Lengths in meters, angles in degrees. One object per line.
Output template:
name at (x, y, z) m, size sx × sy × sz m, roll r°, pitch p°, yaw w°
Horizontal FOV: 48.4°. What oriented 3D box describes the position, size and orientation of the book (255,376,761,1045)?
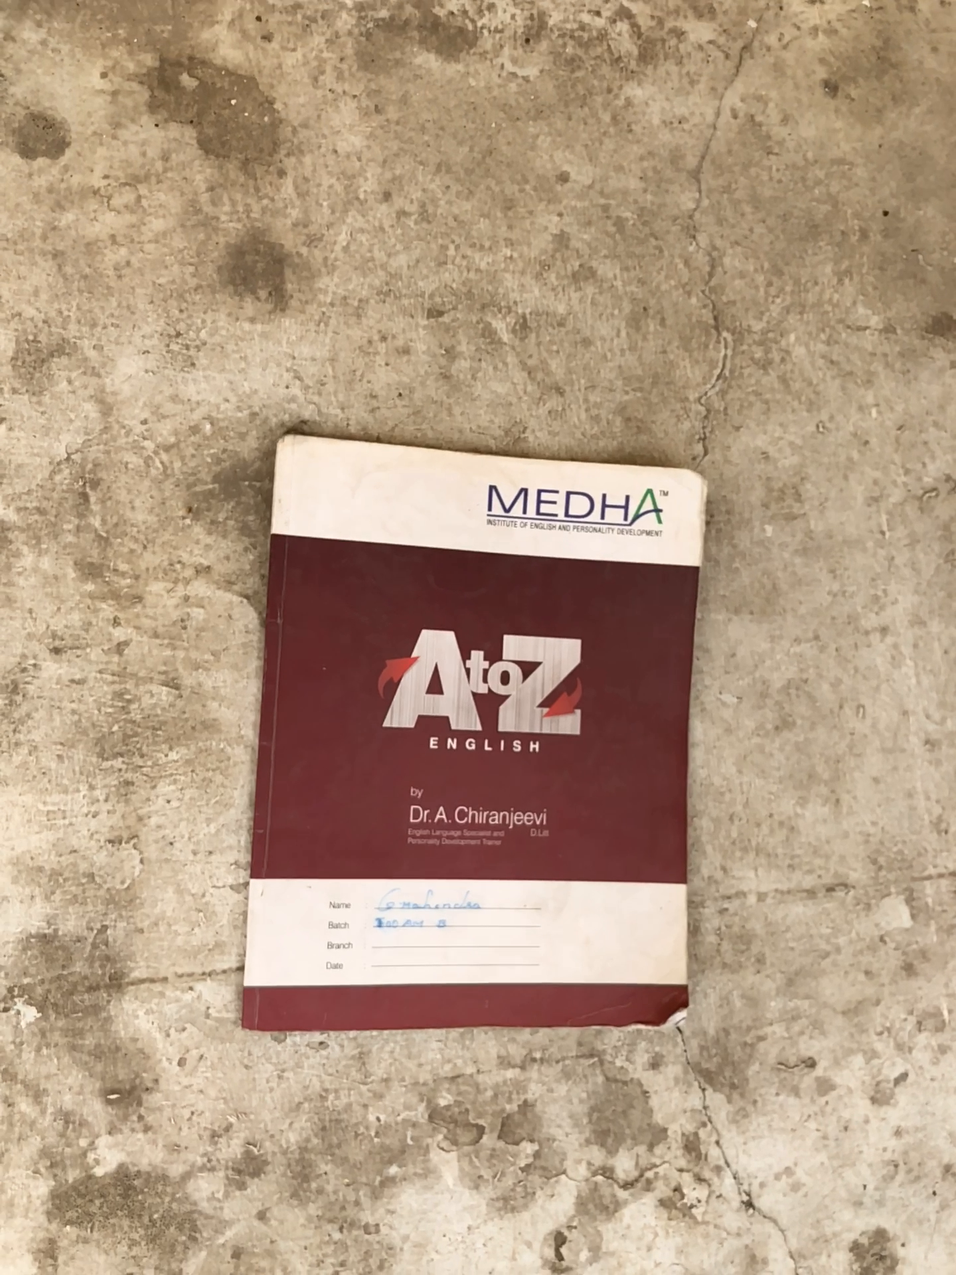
book at (0.019, 0.034, 0.483) m, size 0.220 × 0.030 × 0.280 m, roll 3°, pitch 84°, yaw -12°
